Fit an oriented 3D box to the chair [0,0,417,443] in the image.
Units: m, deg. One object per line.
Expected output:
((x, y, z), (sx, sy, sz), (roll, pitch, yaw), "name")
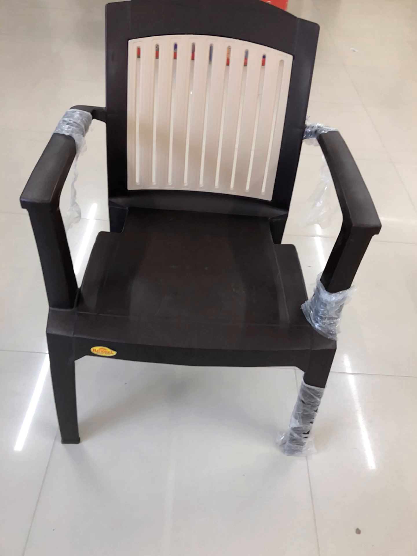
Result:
((-0.001, -0.152, 0.826), (0.600, 0.556, 0.654), (1, 44, -6), "chair")
